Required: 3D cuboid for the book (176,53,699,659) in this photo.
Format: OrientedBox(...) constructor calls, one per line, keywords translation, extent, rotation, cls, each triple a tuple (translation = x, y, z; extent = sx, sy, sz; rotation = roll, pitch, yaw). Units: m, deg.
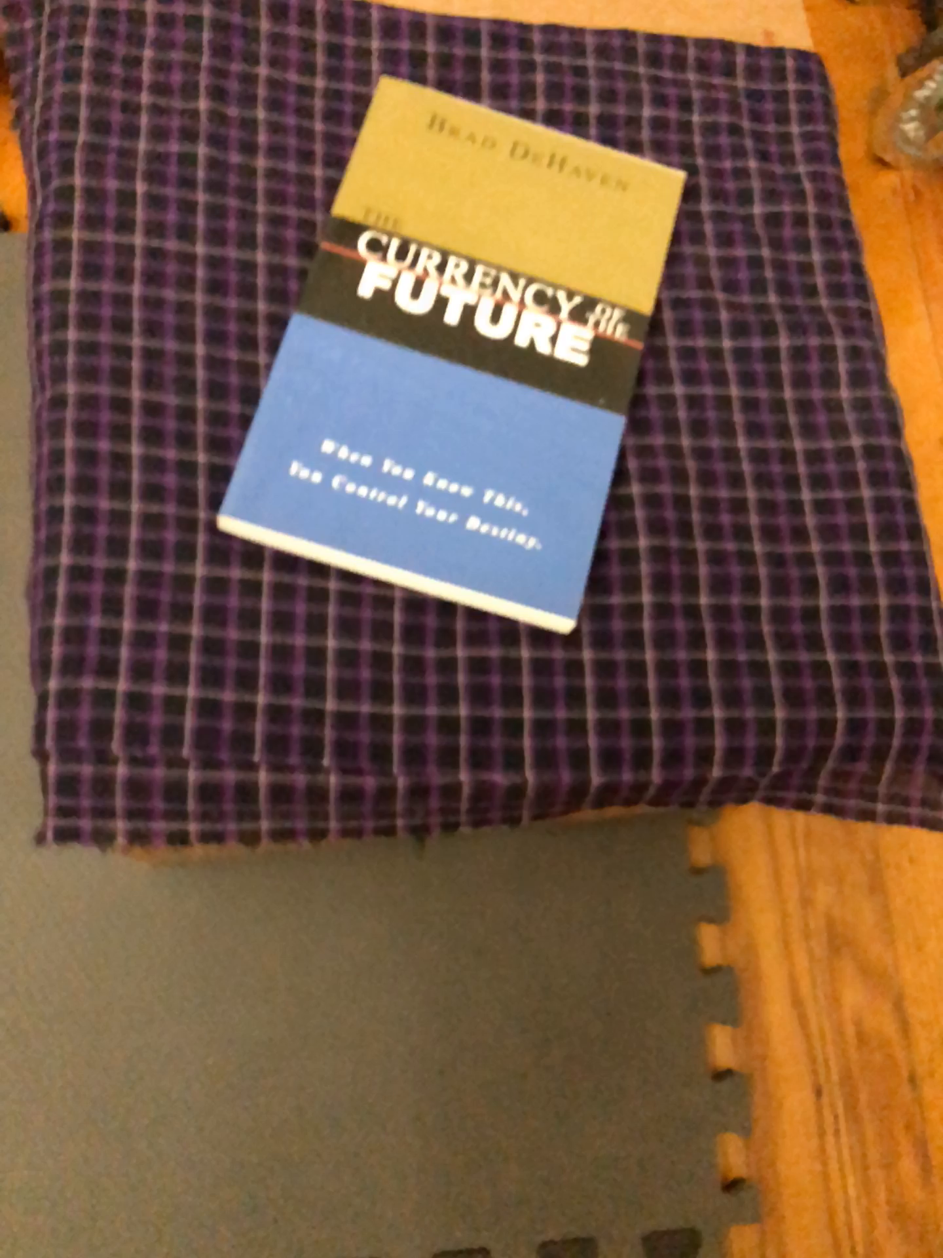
OrientedBox(translation=(-0.005, -0.114, 0.418), extent=(0.150, 0.020, 0.220), rotation=(17, 72, -3), cls="book")
